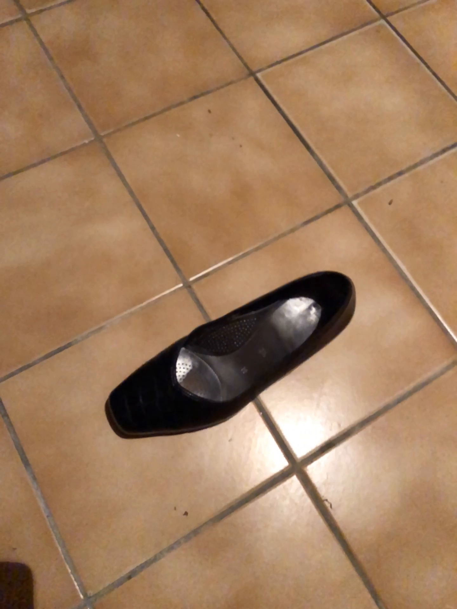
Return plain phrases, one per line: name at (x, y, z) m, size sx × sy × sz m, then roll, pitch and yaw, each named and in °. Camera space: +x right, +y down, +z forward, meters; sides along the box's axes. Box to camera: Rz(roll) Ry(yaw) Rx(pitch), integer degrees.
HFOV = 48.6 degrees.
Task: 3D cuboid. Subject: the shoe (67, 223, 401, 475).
shoe at (0.007, 0.039, 0.446) m, size 0.250 × 0.090 × 0.100 m, roll -26°, pitch 73°, yaw -13°
